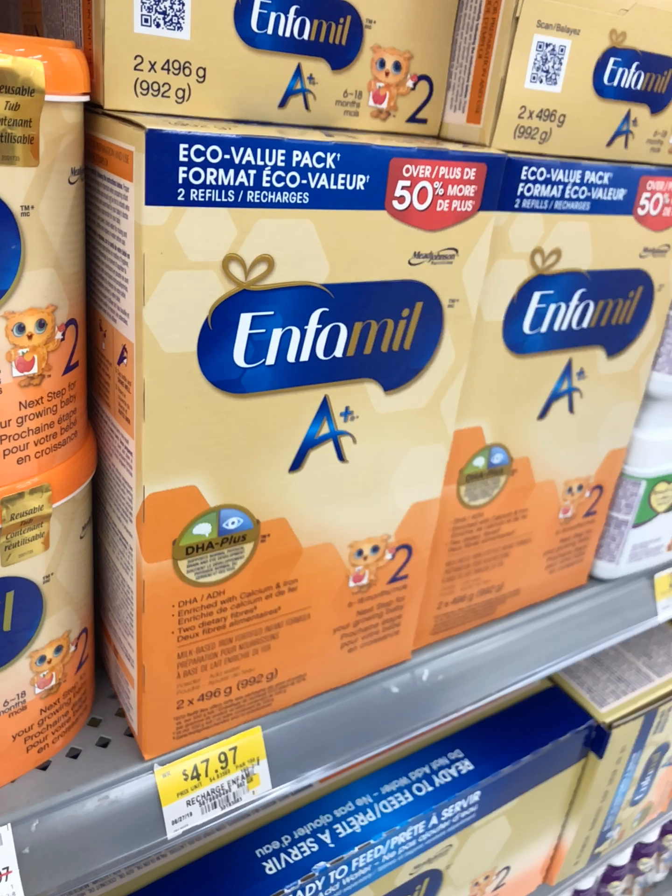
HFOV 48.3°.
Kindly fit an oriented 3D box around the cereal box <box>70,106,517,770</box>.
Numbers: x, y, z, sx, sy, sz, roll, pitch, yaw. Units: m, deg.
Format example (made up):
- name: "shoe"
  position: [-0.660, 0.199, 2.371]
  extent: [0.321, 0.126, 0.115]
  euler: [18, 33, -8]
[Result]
- name: "cereal box"
  position: [-0.027, -0.005, 0.319]
  extent: [0.140, 0.238, 0.080]
  euler: [-10, 31, -34]
